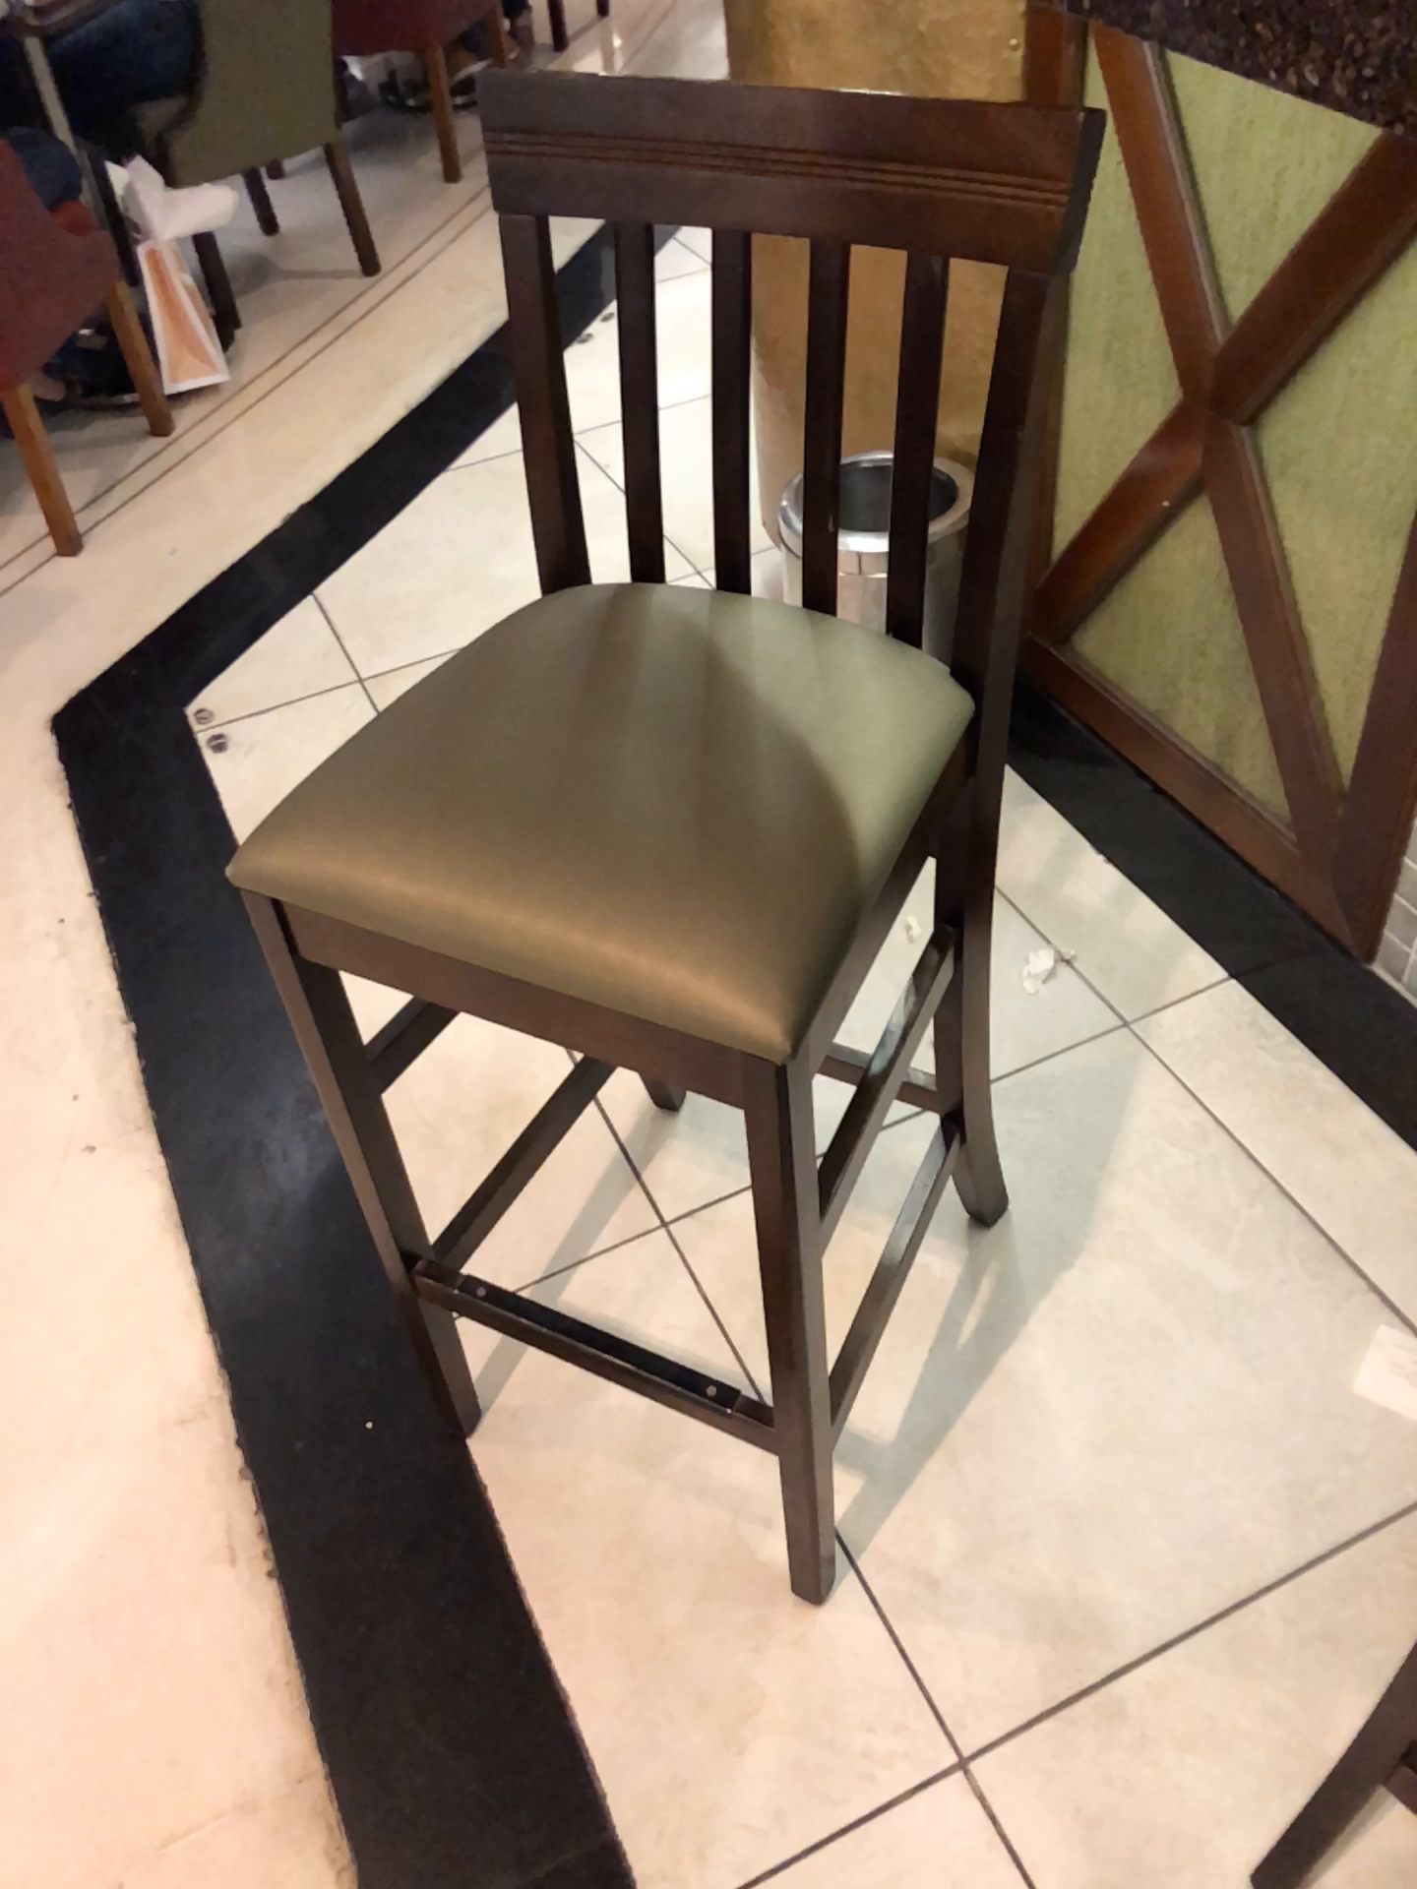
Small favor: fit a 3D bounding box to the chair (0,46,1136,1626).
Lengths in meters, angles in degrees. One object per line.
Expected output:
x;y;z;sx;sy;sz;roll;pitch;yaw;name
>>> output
-0.028;-0.024;1.178;0.461;1.033;0.493;17;48;23;chair
